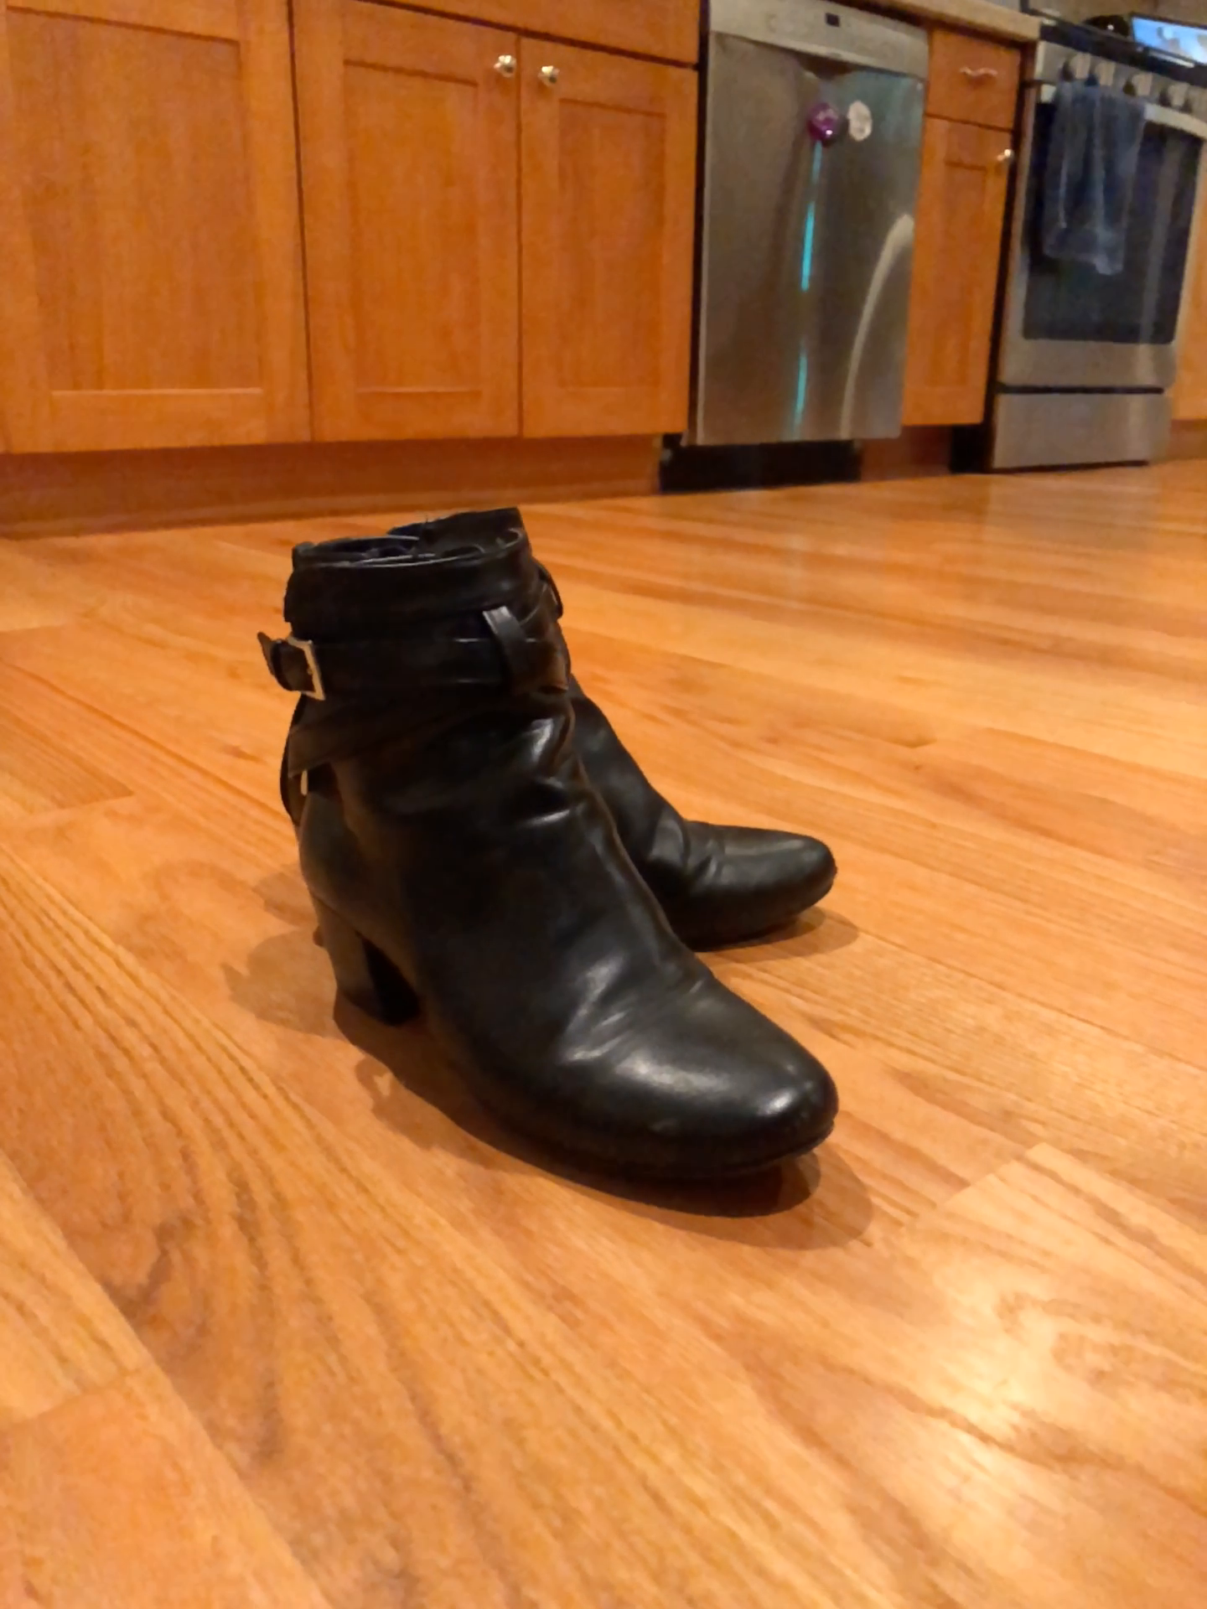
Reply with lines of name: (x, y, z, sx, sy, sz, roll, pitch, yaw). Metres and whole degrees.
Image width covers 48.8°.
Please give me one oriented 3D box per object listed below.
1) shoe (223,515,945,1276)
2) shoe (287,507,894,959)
shoe: (-0.020, 0.005, 0.428, 0.090, 0.172, 0.226, -15, 23, -41)
shoe: (-0.006, -0.033, 0.563, 0.226, 0.172, 0.090, 0, 17, -2)
